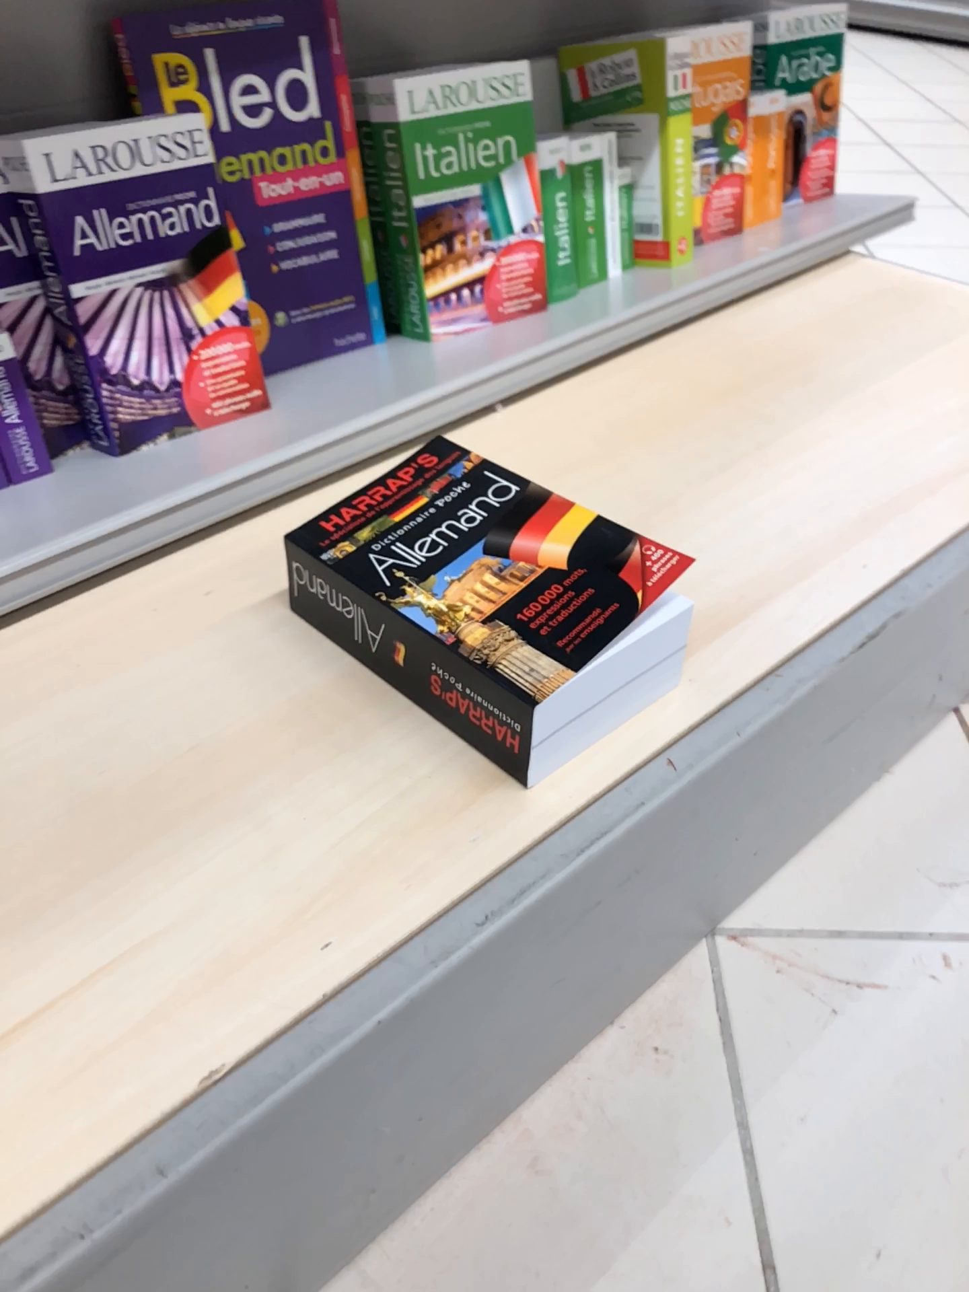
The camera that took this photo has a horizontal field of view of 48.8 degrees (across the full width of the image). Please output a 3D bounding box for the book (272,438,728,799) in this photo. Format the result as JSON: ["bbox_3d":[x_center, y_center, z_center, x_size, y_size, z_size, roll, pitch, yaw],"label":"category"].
[{"bbox_3d":[0.004,-0.025,0.520,0.180,0.060,0.123,32,47,33],"label":"book"}]
